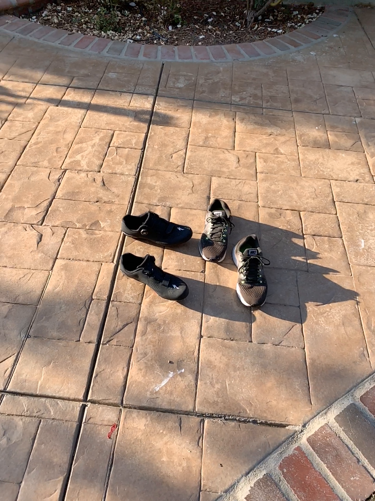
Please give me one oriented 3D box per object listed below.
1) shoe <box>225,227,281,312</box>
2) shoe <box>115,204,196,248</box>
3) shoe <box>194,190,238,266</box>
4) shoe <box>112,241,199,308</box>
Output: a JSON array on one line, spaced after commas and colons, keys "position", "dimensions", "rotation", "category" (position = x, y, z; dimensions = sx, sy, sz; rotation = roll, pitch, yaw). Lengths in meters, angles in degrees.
[{"position": [0.223, 0.061, 1.360], "dimensions": [0.130, 0.109, 0.291], "rotation": [-1, 50, -5], "category": "shoe"}, {"position": [-0.116, -0.093, 1.432], "dimensions": [0.280, 0.050, 0.131], "rotation": [7, 50, 2], "category": "shoe"}, {"position": [0.113, -0.093, 1.466], "dimensions": [0.130, 0.090, 0.291], "rotation": [8, 50, 3], "category": "shoe"}, {"position": [-0.111, 0.077, 1.310], "dimensions": [0.281, 0.050, 0.110], "rotation": [27, 54, 18], "category": "shoe"}]
